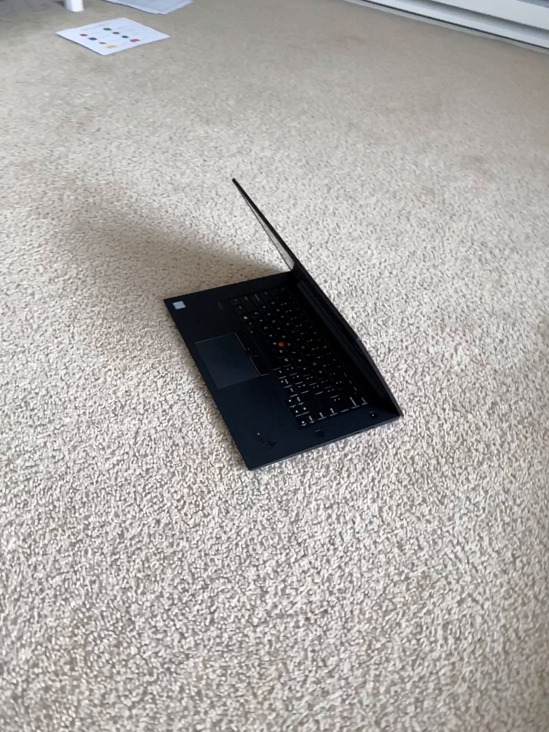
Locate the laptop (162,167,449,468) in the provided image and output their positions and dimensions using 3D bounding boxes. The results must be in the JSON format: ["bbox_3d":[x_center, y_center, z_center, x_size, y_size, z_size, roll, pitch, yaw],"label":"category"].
[{"bbox_3d":[0.014,-0.090,0.802,0.243,0.198,0.356,-16,51,-21],"label":"laptop"}]
